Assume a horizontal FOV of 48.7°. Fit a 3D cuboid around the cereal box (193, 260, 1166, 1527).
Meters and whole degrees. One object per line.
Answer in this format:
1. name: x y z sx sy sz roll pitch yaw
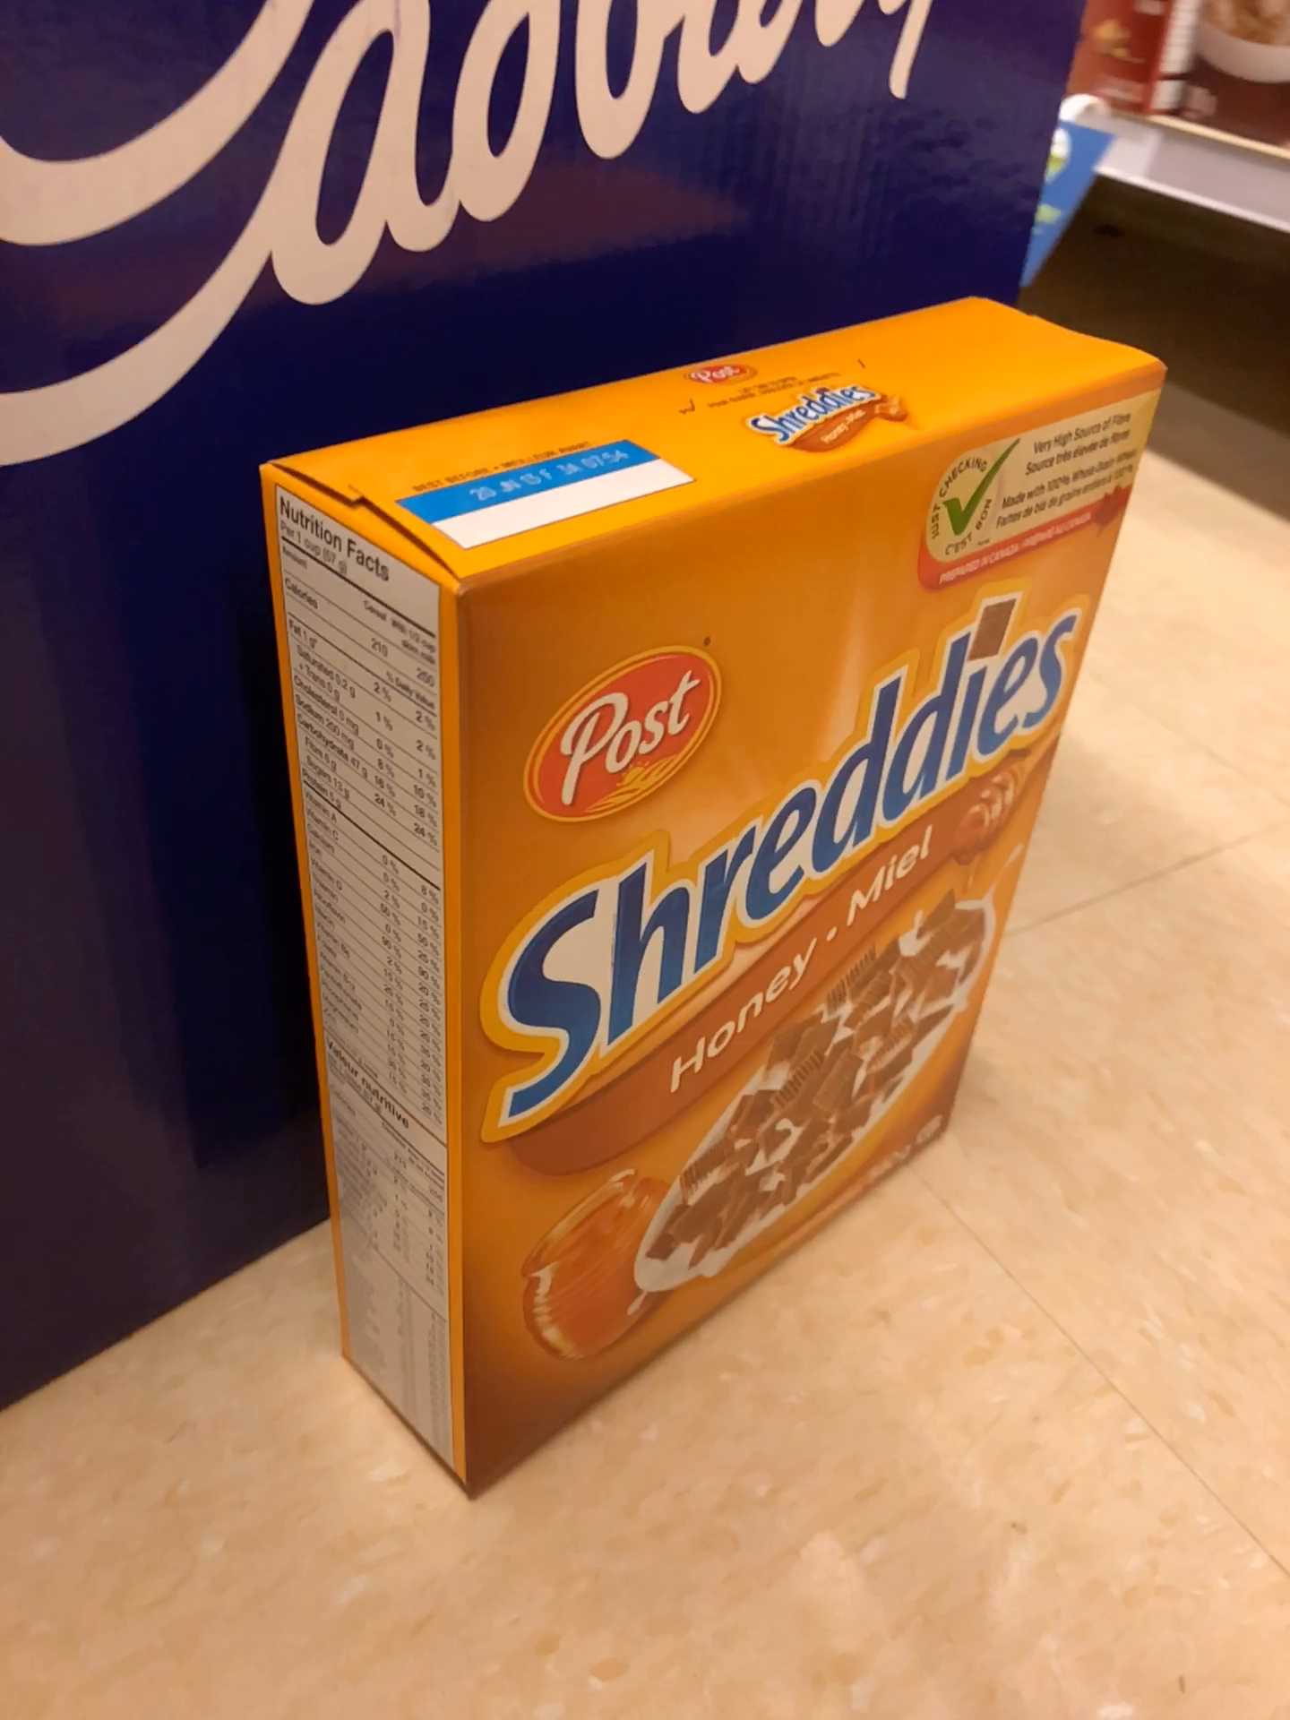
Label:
1. cereal box: 0.011 0.011 0.375 0.211 0.278 0.070 -27 48 -35
